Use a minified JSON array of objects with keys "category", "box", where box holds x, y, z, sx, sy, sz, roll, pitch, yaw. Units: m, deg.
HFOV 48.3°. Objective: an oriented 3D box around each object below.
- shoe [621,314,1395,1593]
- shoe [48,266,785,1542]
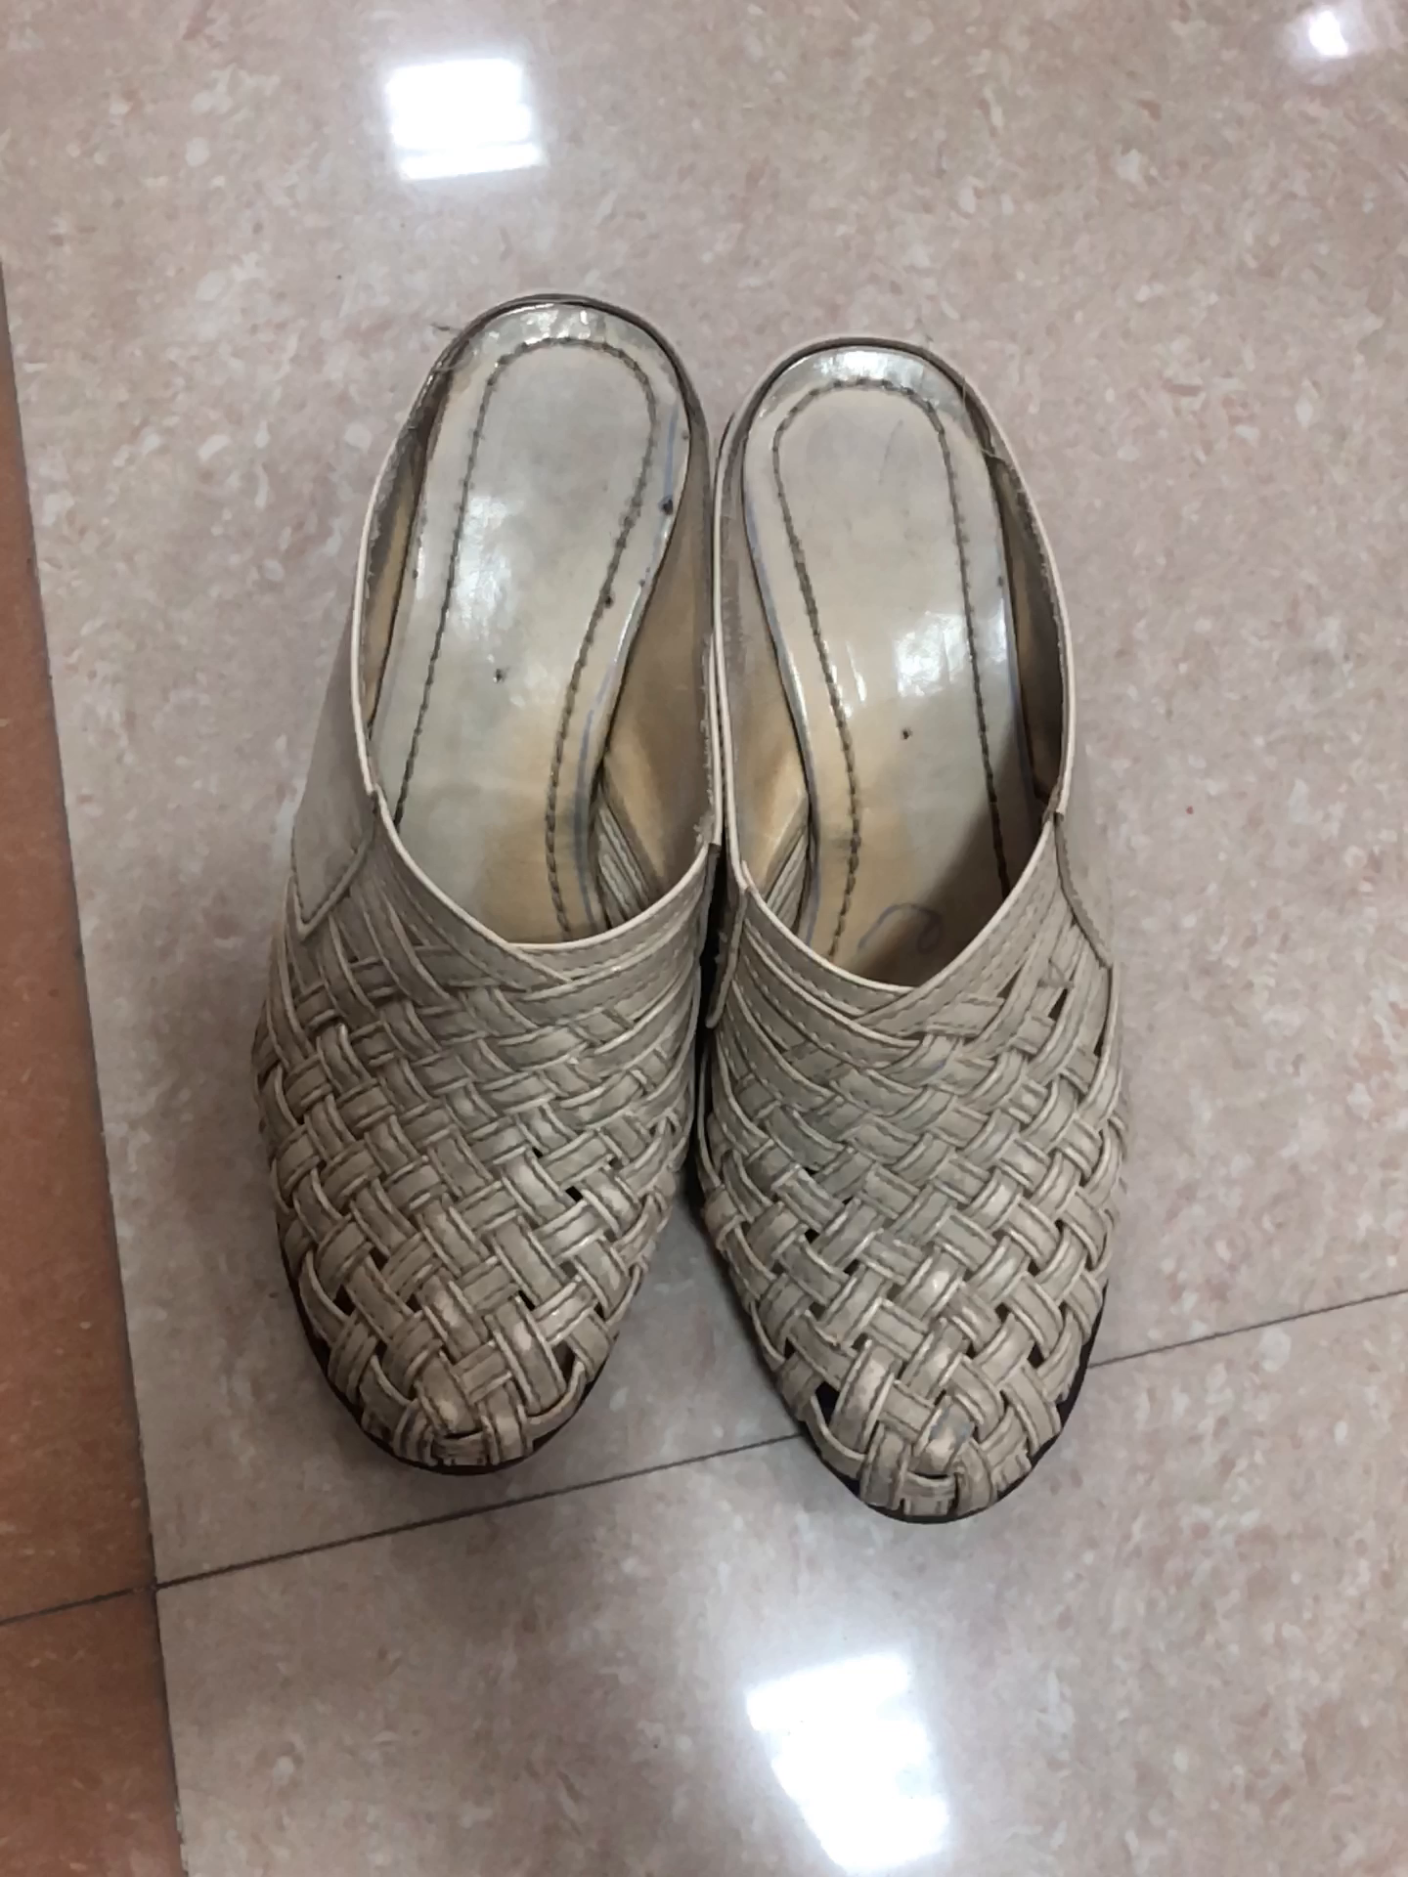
[{"category":"shoe","box":[0.044,0.001,0.312,0.100,0.085,0.221,-5,74,-4]},{"category":"shoe","box":[-0.044,-0.007,0.314,0.100,0.085,0.225,5,73,-1]}]
